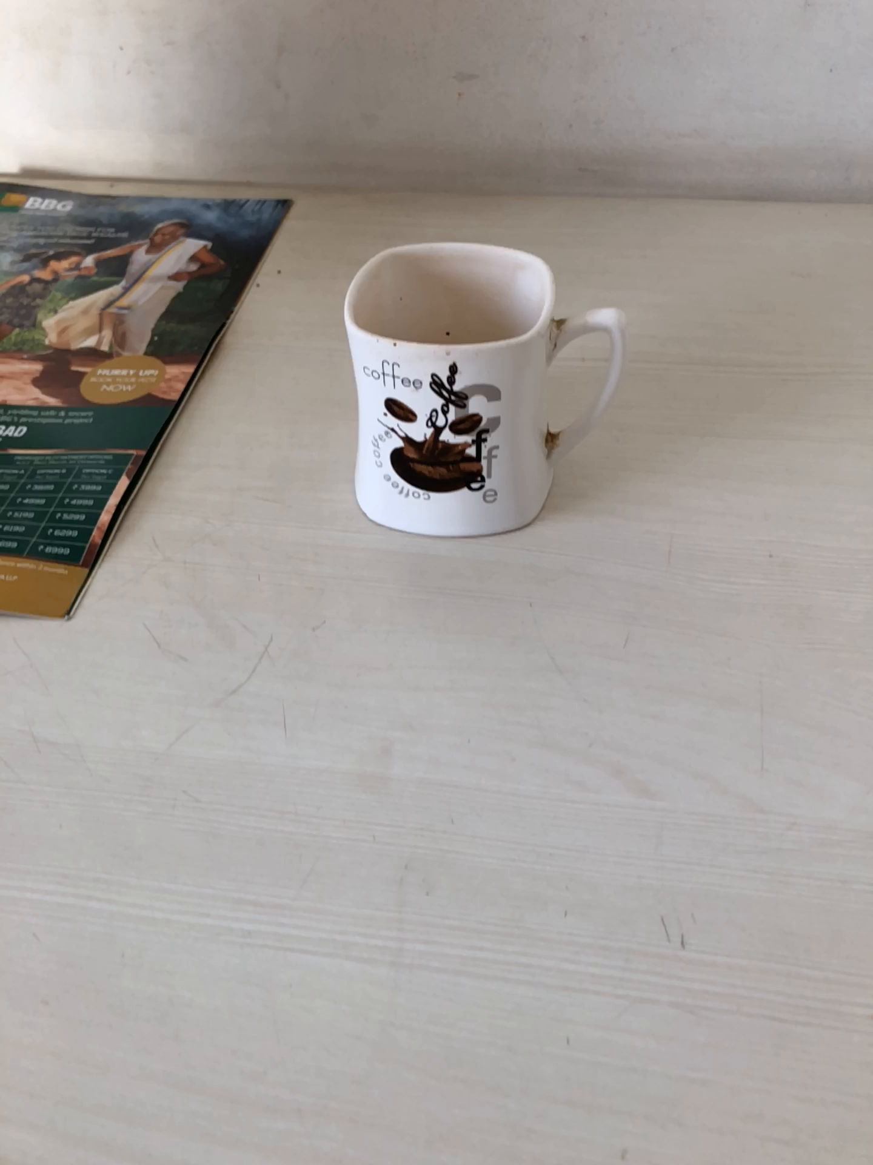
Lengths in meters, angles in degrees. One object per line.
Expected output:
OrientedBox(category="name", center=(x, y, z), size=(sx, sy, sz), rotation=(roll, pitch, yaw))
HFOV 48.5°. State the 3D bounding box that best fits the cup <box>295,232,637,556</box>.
OrientedBox(category="cup", center=(0.012, -0.060, 0.304), size=(0.090, 0.070, 0.071), rotation=(3, 45, 6))
